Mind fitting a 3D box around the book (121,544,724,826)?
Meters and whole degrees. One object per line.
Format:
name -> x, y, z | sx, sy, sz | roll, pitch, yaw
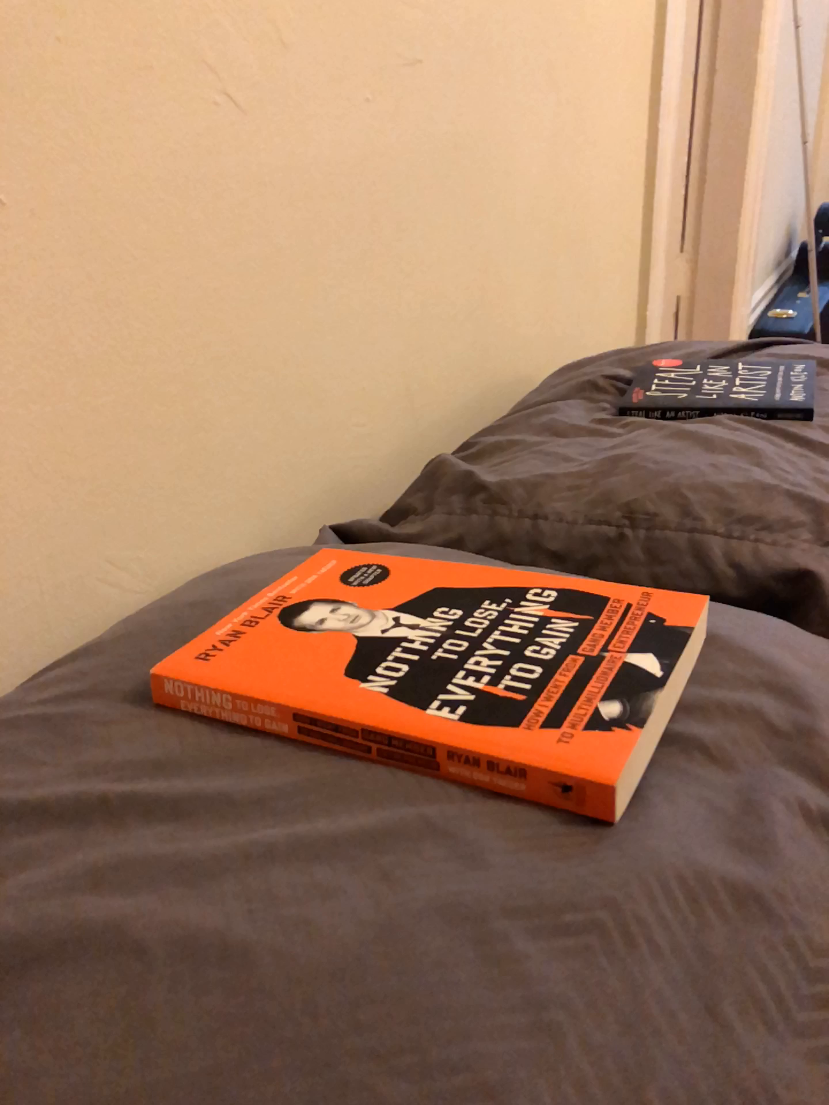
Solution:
book -> 0.007, 0.043, 0.416 | 0.230, 0.020, 0.151 | 8, 23, 28
